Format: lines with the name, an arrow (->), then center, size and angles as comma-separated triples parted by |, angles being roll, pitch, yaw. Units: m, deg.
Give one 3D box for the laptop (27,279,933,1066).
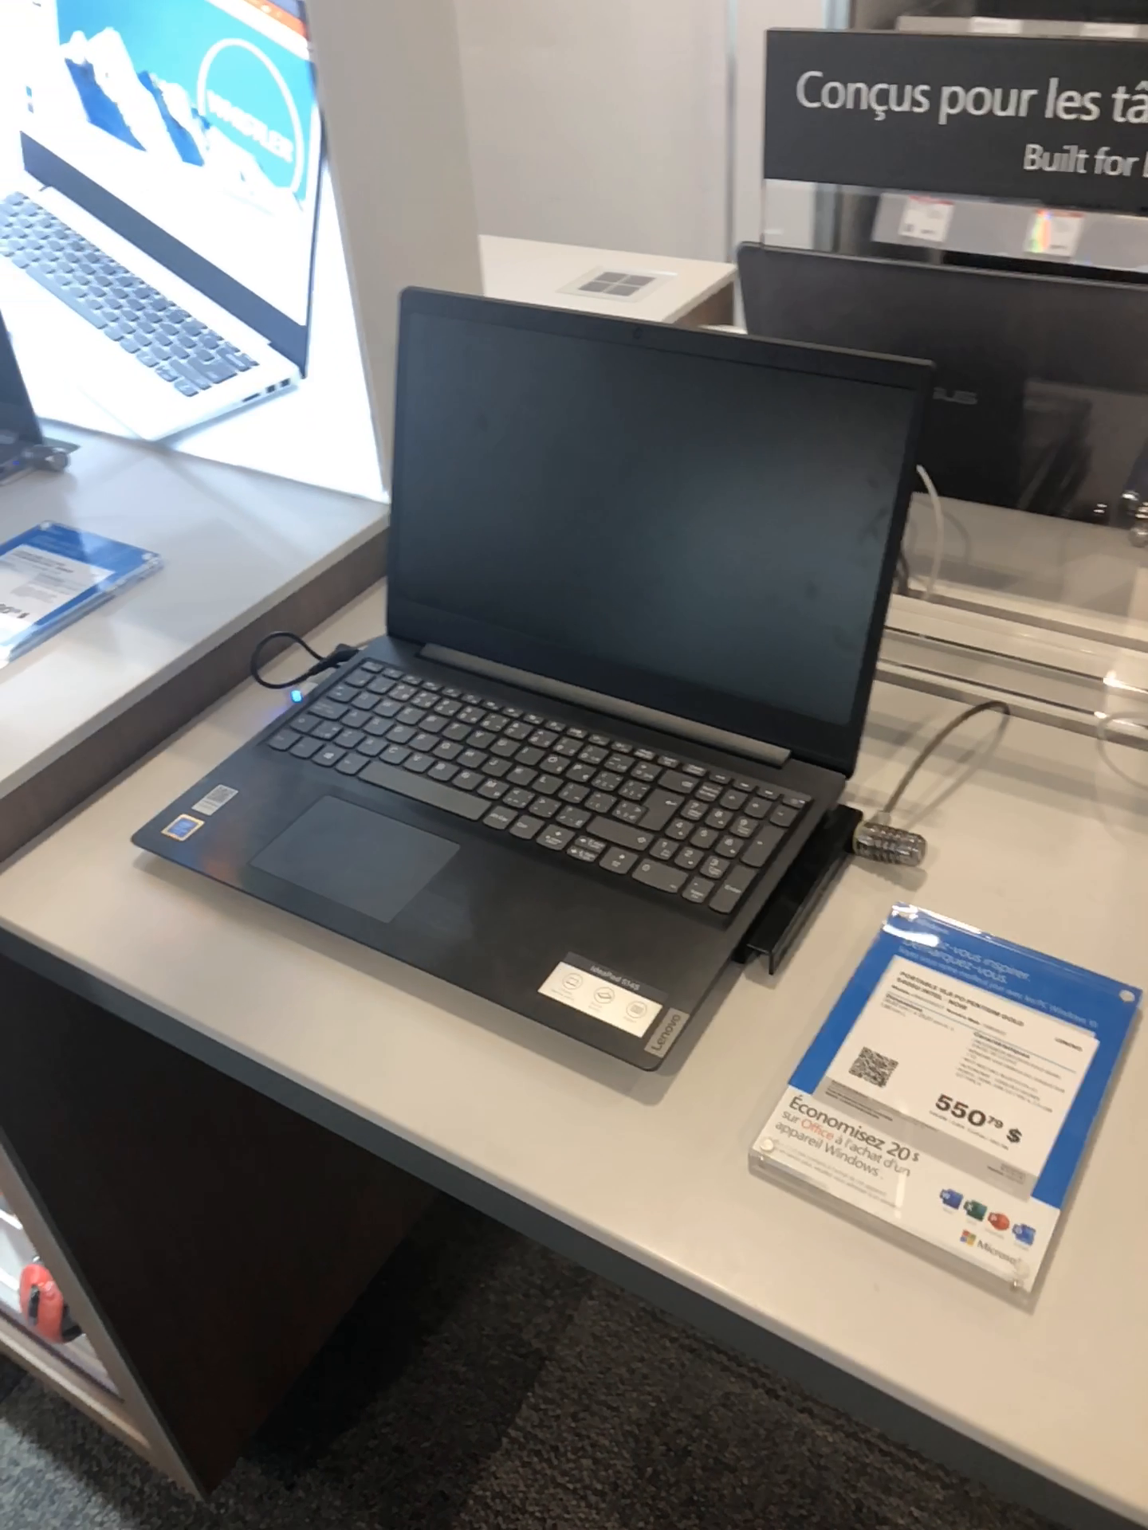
laptop -> -0.034, -0.087, 0.707 | 0.346, 0.213, 0.323 | 18, 46, 27
